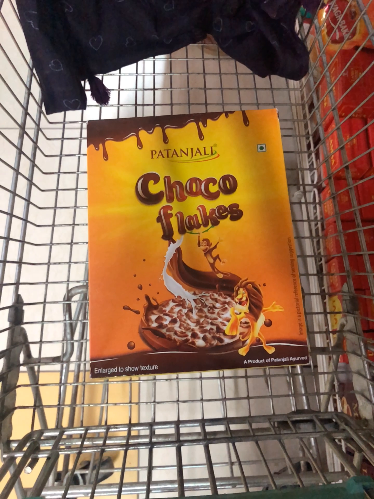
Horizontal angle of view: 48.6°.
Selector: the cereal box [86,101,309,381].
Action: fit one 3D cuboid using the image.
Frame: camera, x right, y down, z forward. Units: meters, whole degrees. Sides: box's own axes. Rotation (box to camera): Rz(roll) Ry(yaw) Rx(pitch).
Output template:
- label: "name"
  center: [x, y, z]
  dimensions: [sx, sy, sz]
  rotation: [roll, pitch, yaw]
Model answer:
- label: "cereal box"
  center: [0.002, -0.004, 0.399]
  dimensions: [0.170, 0.110, 0.230]
  rotation: [-4, 77, -1]
